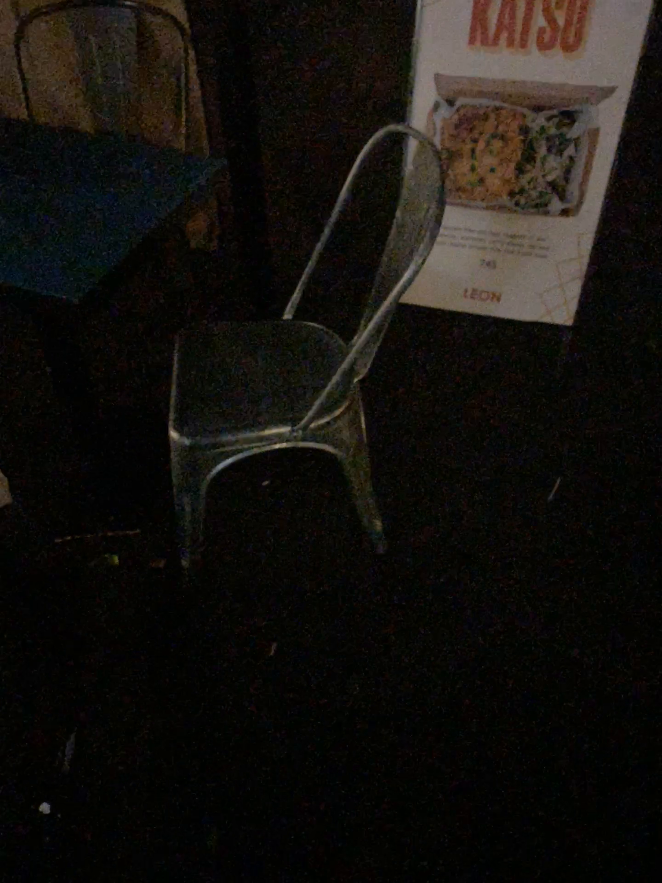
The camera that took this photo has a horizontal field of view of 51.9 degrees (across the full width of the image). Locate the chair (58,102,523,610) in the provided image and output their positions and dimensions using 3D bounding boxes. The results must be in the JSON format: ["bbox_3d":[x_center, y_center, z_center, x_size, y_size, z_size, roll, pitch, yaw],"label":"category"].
[{"bbox_3d":[-0.089,-0.149,1.293,0.600,0.723,0.505,-9,46,-9],"label":"chair"}]
